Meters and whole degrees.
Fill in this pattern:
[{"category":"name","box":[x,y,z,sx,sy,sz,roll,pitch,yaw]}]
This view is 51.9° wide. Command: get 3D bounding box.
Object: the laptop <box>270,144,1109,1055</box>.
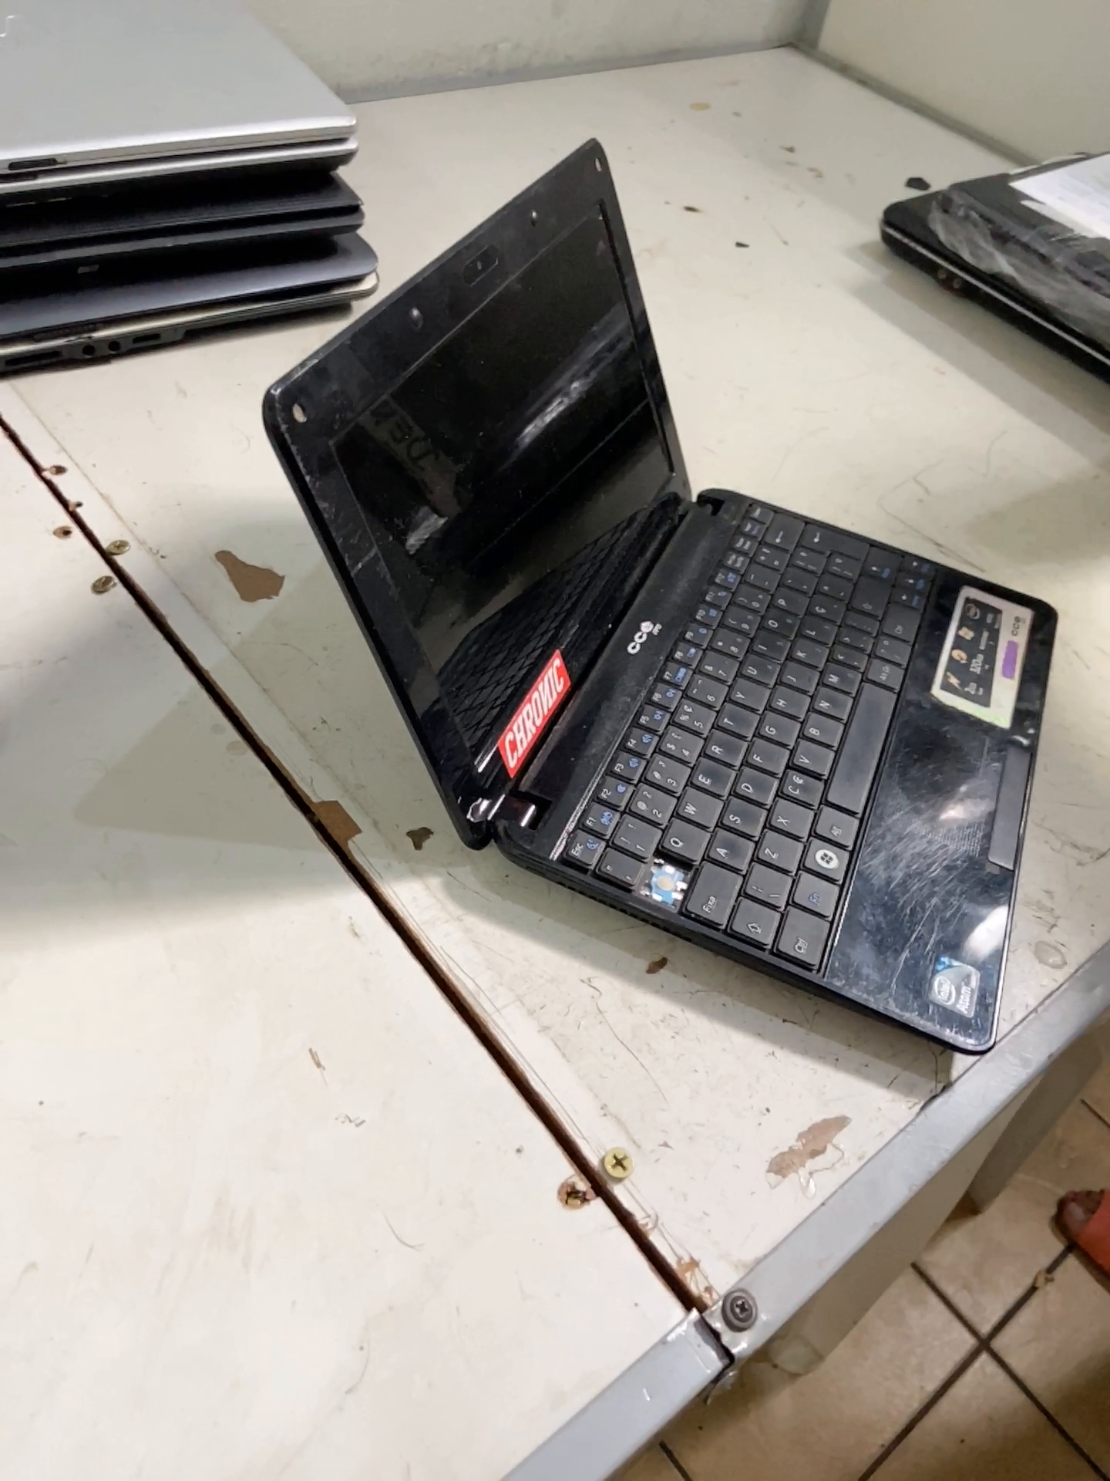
[{"category":"laptop","box":[0.078,-0.075,0.423,0.257,0.137,0.255,22,47,10]}]
